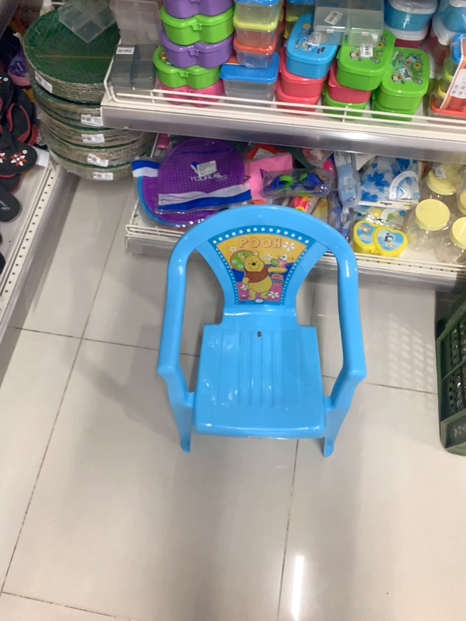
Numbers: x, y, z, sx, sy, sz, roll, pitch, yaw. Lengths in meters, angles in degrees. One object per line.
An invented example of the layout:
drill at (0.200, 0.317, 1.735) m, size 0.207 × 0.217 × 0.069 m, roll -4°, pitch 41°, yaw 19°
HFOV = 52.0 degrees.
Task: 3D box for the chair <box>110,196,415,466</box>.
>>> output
chair at (0.048, 0.085, 0.916) m, size 0.390 × 0.509 × 0.350 m, roll 0°, pitch 66°, yaw 3°
